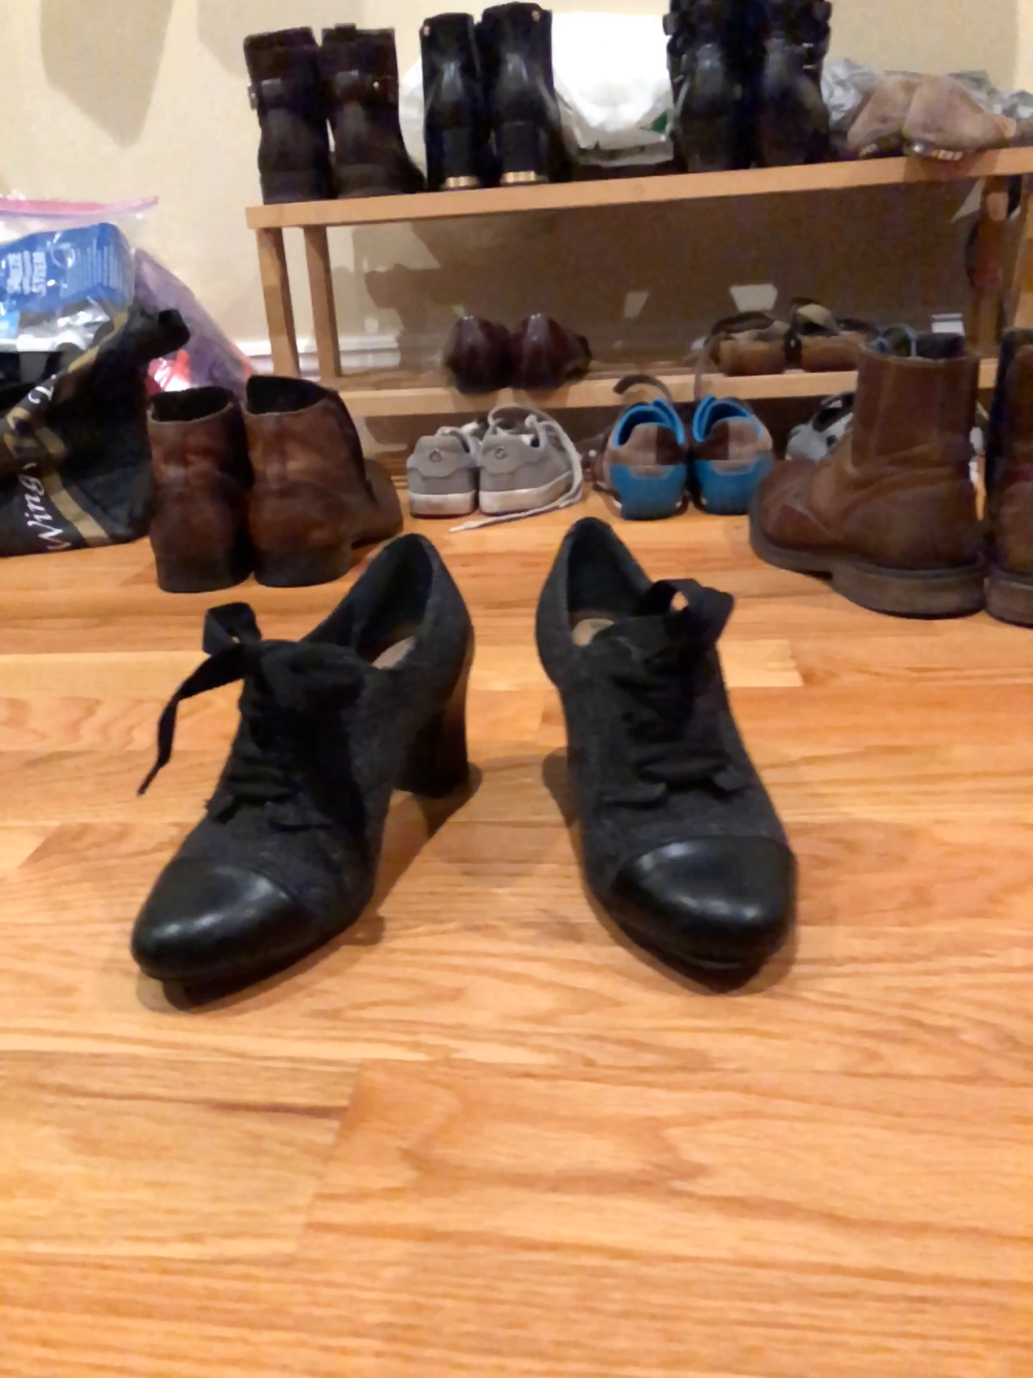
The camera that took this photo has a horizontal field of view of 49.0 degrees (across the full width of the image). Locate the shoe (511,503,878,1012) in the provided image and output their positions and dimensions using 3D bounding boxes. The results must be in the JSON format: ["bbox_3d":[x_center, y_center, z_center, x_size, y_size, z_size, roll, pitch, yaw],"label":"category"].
[{"bbox_3d":[0.060,0.010,0.479,0.088,0.125,0.224,-6,21,-6],"label":"shoe"}]

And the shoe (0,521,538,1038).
[{"bbox_3d":[-0.085,0.018,0.482,0.093,0.125,0.224,7,24,26],"label":"shoe"}]
